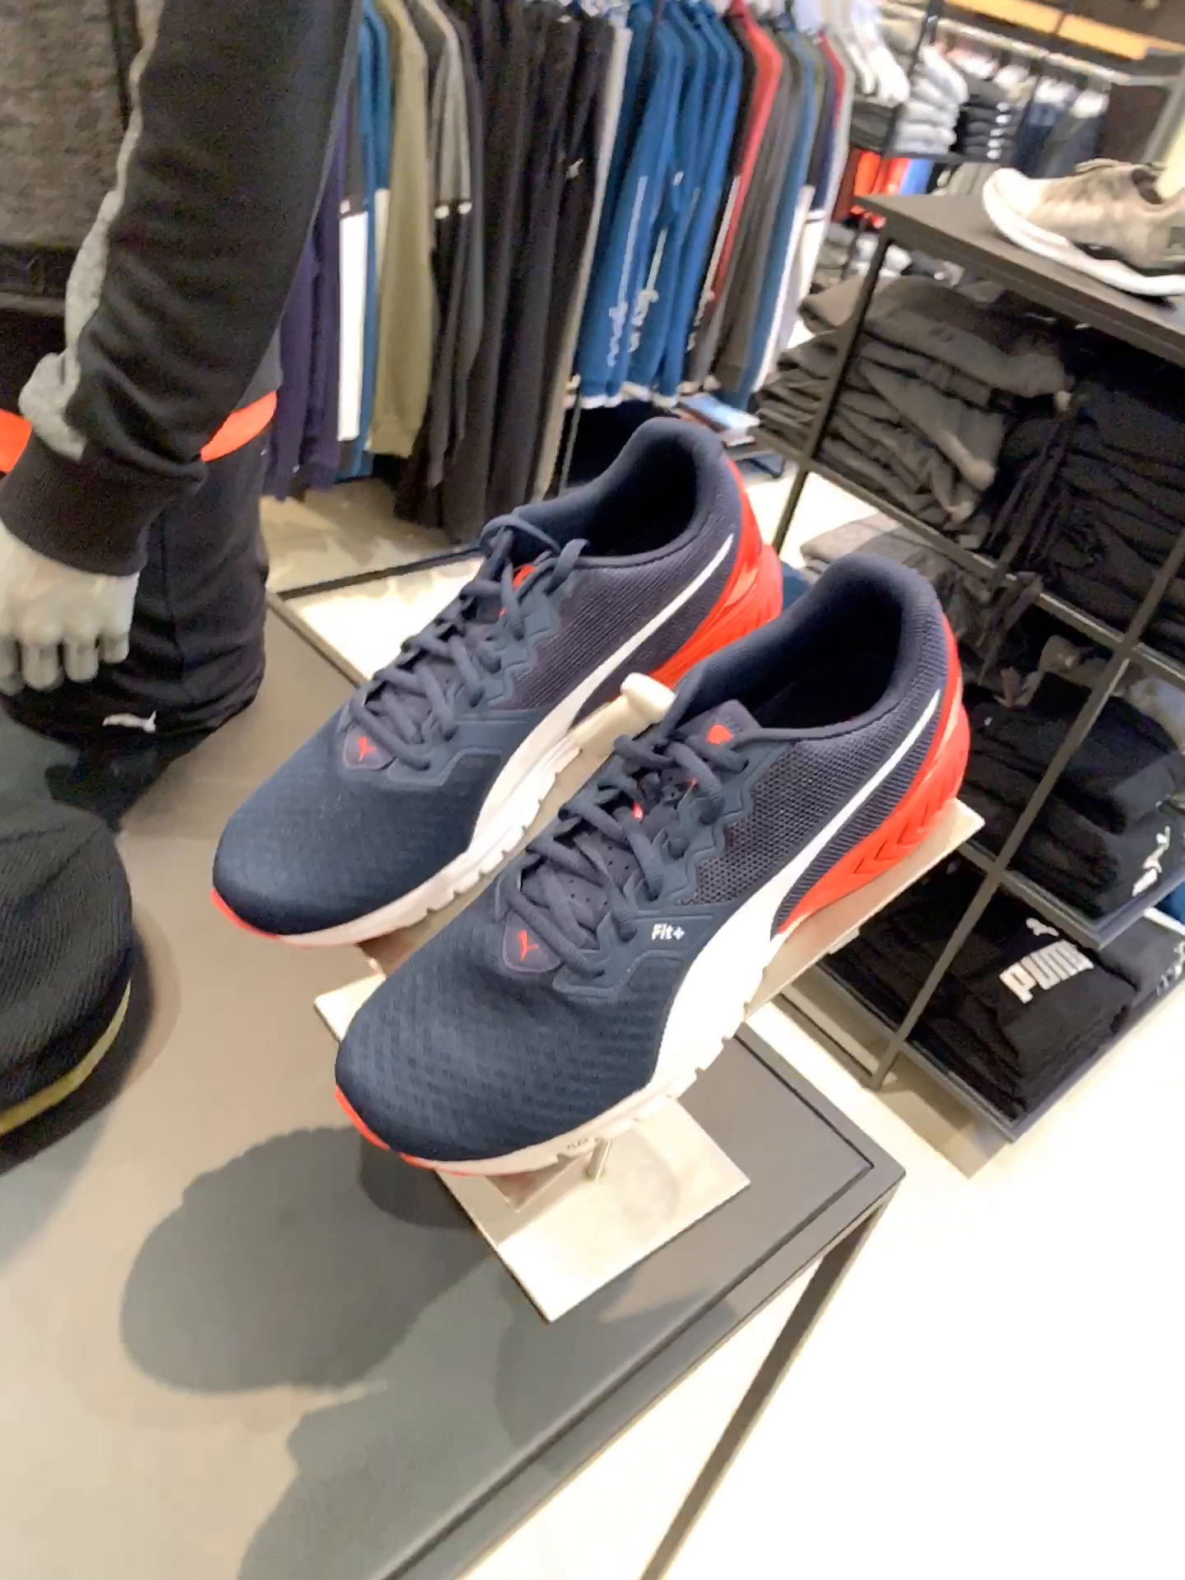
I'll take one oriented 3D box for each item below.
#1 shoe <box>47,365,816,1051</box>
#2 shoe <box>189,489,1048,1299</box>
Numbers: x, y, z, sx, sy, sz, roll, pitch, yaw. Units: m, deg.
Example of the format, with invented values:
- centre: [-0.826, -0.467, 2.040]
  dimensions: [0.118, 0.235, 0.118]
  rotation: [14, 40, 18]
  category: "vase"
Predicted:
- centre: [-0.044, -0.038, 0.436]
  dimensions: [0.251, 0.079, 0.100]
  rotation: [-38, 58, -17]
  category: "shoe"
- centre: [0.019, 0.027, 0.408]
  dimensions: [0.261, 0.099, 0.100]
  rotation: [-38, 58, -17]
  category: "shoe"
